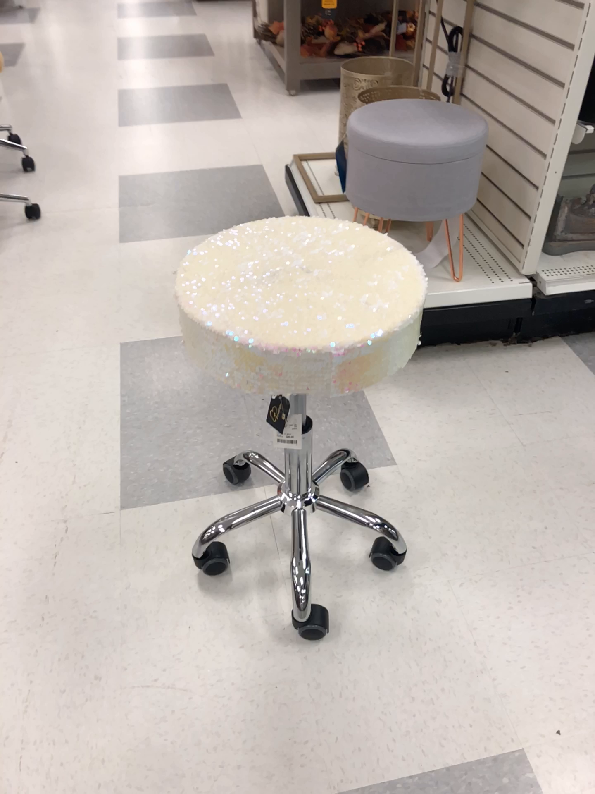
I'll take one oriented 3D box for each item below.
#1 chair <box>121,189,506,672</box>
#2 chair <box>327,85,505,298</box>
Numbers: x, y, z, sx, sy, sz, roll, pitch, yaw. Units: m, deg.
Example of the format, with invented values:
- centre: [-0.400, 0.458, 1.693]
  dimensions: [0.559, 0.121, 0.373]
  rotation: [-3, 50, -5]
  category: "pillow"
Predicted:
- centre: [-0.014, 0.050, 1.090]
  dimensions: [0.436, 0.591, 0.468]
  rotation: [-7, 41, -8]
  category: "chair"
- centre: [0.258, -0.503, 1.589]
  dimensions: [0.306, 0.383, 0.307]
  rotation: [-7, 41, -8]
  category: "chair"
